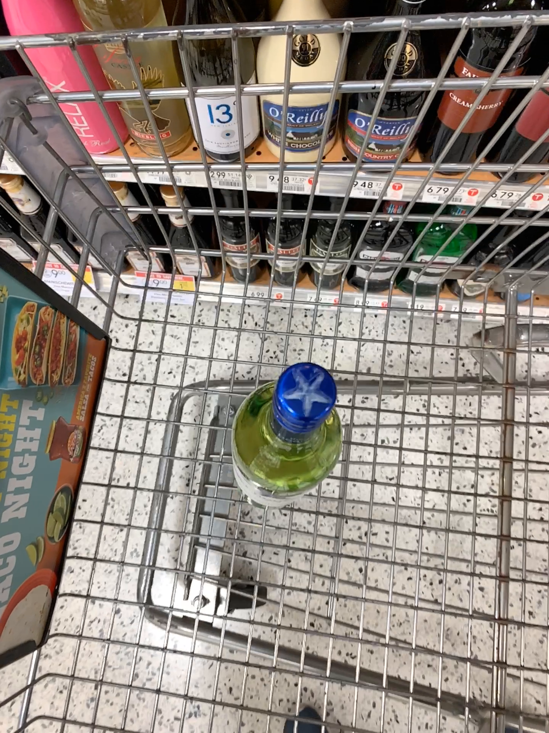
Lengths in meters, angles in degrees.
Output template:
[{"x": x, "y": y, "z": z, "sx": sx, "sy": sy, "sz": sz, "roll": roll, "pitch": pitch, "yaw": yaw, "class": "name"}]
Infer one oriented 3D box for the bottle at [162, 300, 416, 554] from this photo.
[{"x": 0.006, "y": 0.070, "z": 0.415, "sx": 0.090, "sy": 0.339, "sz": 0.090, "roll": 0, "pitch": 74, "yaw": -1, "class": "bottle"}]
